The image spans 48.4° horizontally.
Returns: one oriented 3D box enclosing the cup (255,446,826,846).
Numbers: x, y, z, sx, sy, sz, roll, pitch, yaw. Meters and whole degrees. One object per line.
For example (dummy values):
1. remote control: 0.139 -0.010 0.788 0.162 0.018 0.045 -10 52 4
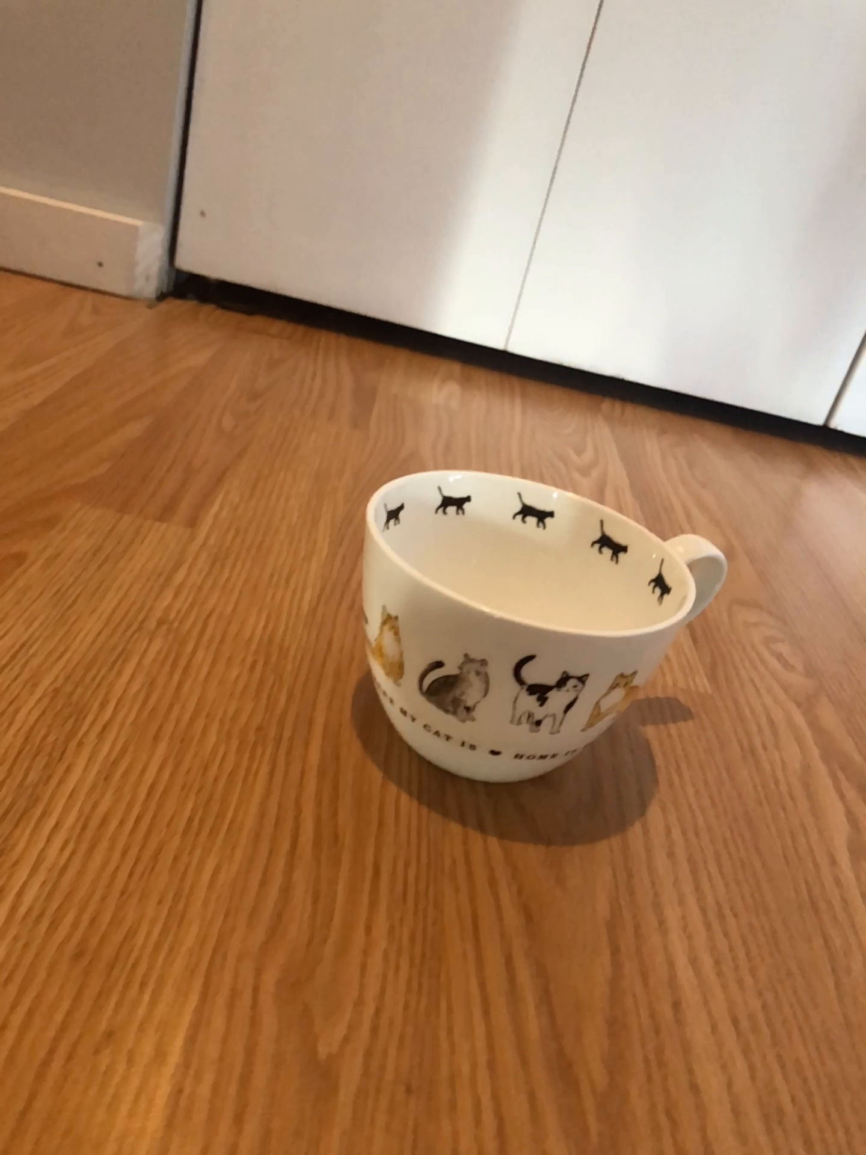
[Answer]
1. cup: 0.035 0.015 0.364 0.160 0.080 0.120 -2 32 -31
